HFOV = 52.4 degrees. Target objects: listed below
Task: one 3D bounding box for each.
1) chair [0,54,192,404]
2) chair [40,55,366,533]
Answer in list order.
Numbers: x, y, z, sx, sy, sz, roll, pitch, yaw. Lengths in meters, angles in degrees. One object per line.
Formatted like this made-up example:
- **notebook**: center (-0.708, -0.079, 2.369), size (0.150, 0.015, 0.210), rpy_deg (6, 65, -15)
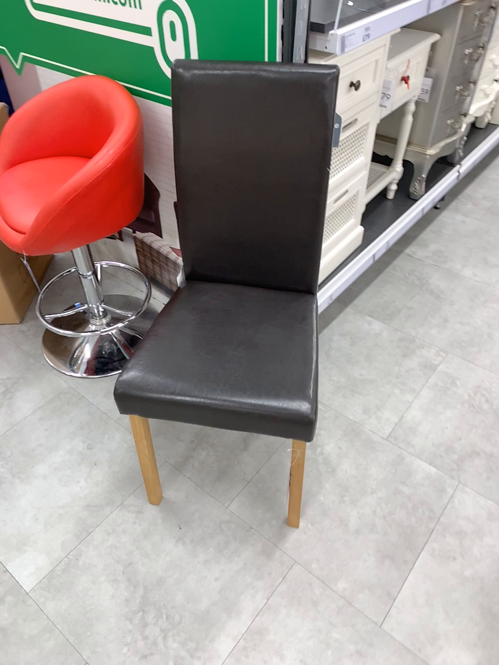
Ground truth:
- **chair**: center (-0.508, -0.285, 1.456), size (0.457, 0.774, 0.428), rpy_deg (-27, 49, -25)
- **chair**: center (-0.017, -0.053, 1.172), size (0.426, 0.912, 0.561), rpy_deg (7, 43, 9)
